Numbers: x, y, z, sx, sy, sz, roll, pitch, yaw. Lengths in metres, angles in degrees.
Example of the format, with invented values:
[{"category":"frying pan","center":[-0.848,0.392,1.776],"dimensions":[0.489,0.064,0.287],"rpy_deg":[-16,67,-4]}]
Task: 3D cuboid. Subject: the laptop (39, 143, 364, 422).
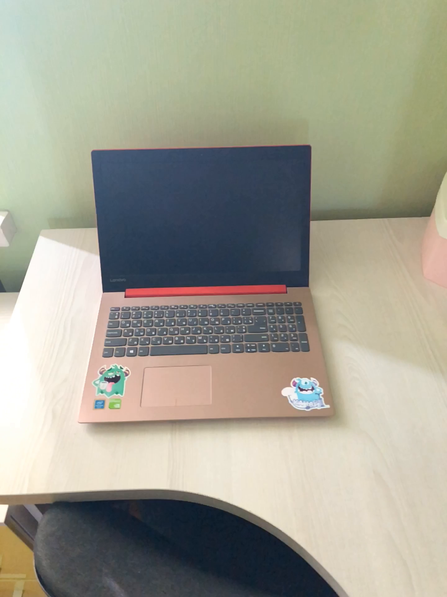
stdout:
[{"category":"laptop","center":[-0.031,-0.044,0.774],"dimensions":[0.375,0.198,0.403],"rpy_deg":[-1,48,-1]}]
